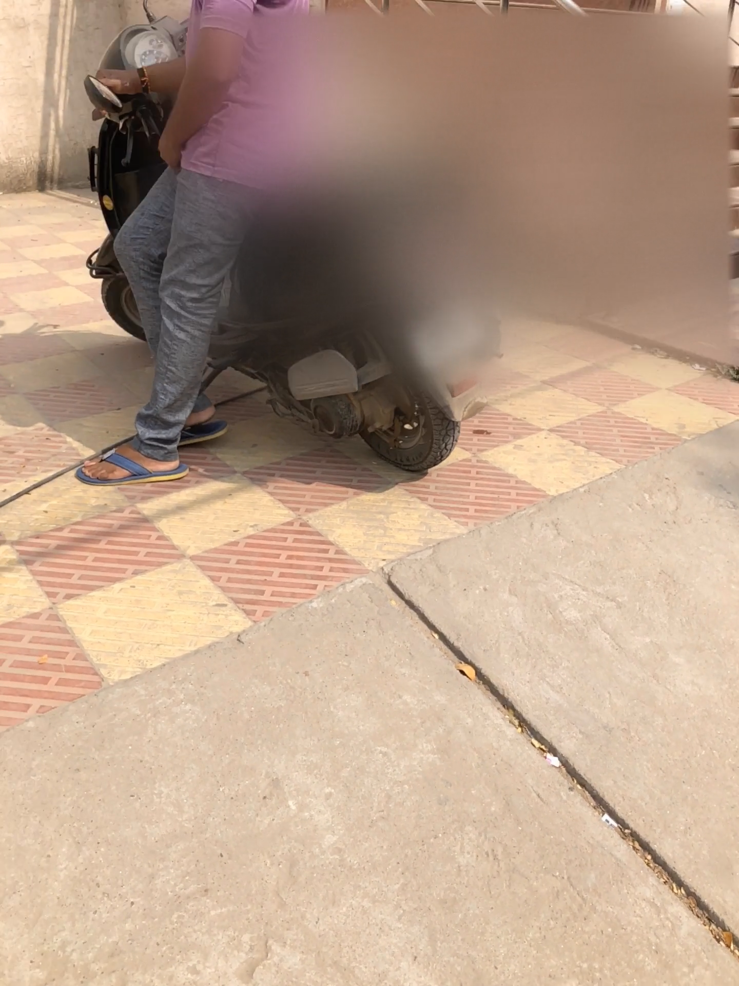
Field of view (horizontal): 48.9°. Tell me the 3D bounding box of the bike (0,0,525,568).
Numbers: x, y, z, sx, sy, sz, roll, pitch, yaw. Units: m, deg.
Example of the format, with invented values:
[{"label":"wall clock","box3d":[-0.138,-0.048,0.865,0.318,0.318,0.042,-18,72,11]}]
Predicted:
[{"label":"bike","box3d":[-0.520,-0.694,2.231,1.594,1.117,0.639,25,36,36]}]
